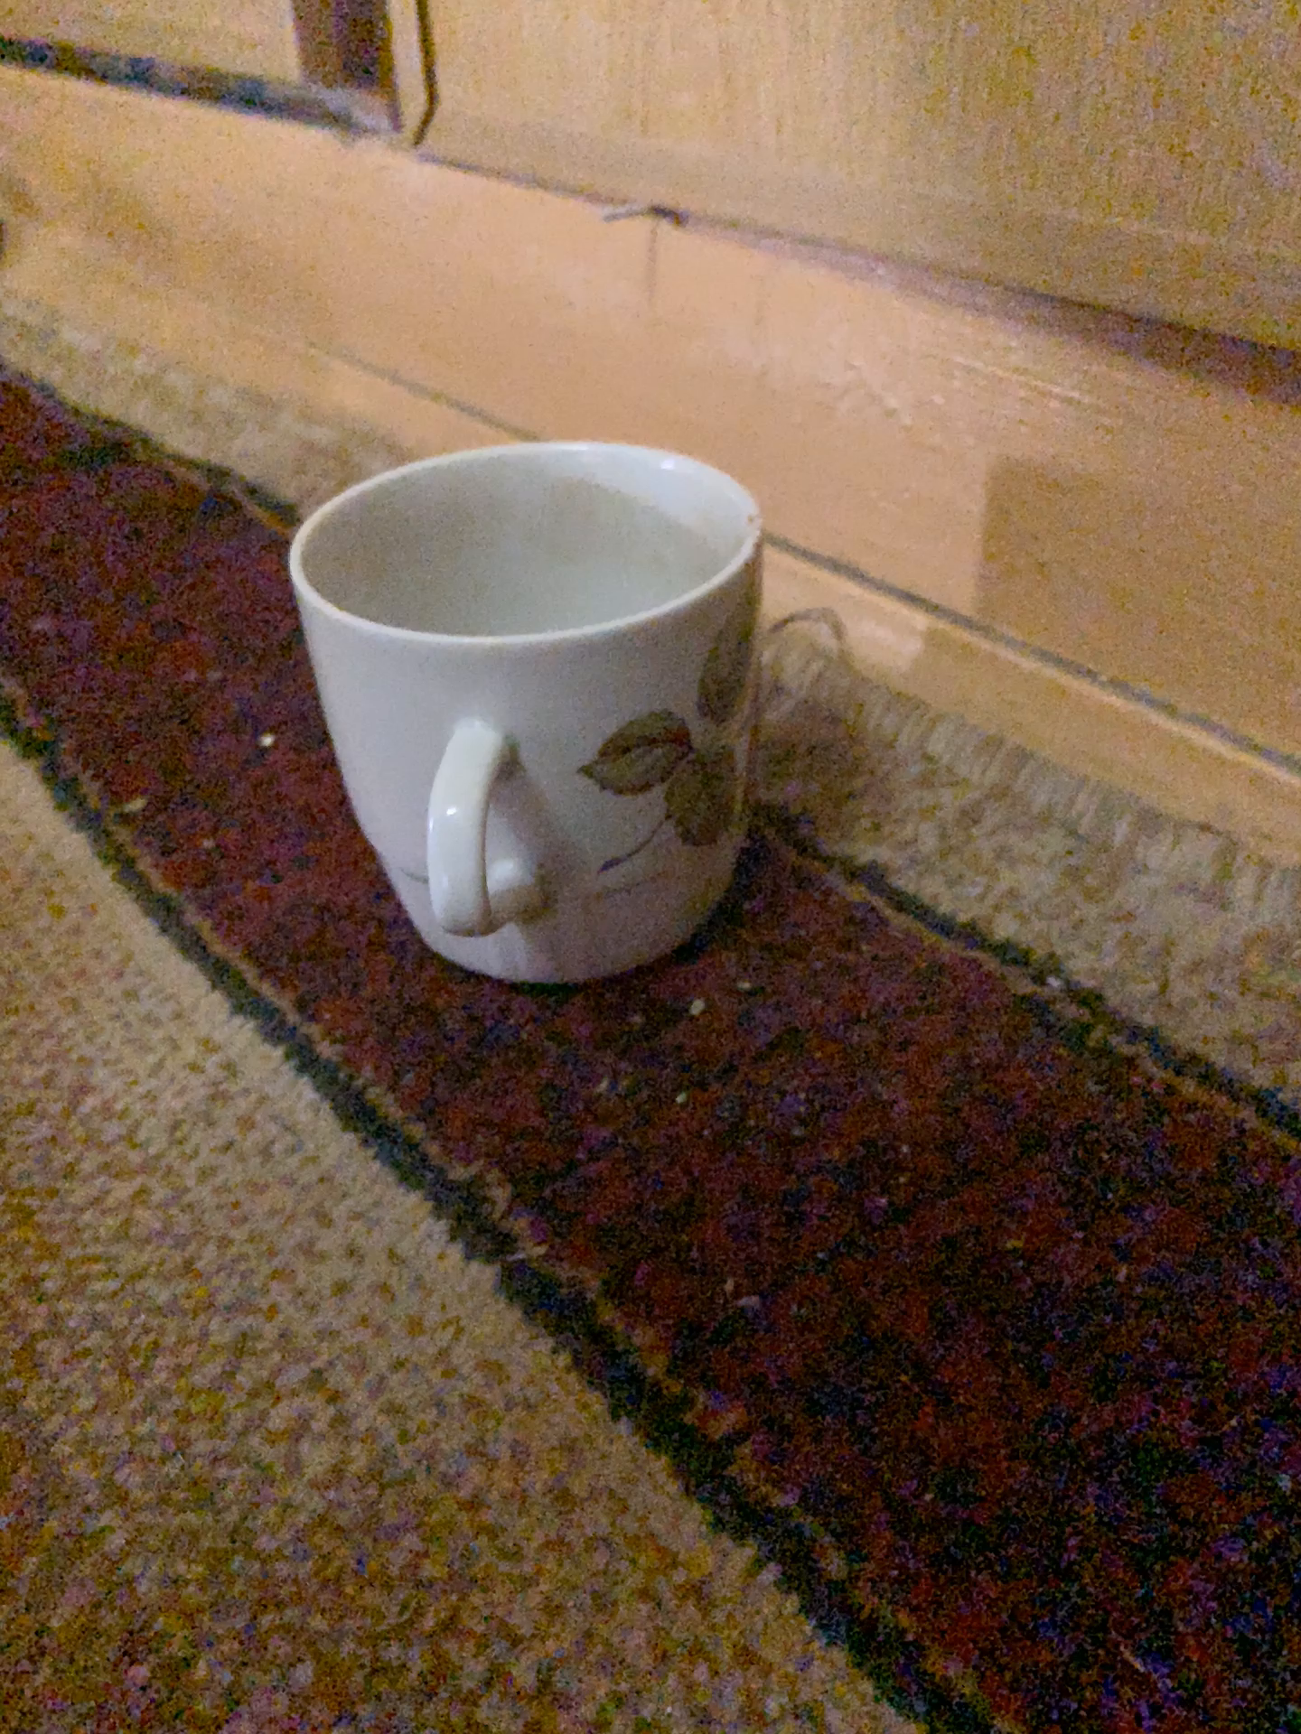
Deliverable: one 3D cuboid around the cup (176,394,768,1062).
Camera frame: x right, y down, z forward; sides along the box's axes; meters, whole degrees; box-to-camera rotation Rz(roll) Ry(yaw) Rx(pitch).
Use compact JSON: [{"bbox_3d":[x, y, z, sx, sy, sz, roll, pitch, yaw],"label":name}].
[{"bbox_3d":[-0.022,-0.031,0.254,0.081,0.075,0.114,-1,36,3],"label":"cup"}]
